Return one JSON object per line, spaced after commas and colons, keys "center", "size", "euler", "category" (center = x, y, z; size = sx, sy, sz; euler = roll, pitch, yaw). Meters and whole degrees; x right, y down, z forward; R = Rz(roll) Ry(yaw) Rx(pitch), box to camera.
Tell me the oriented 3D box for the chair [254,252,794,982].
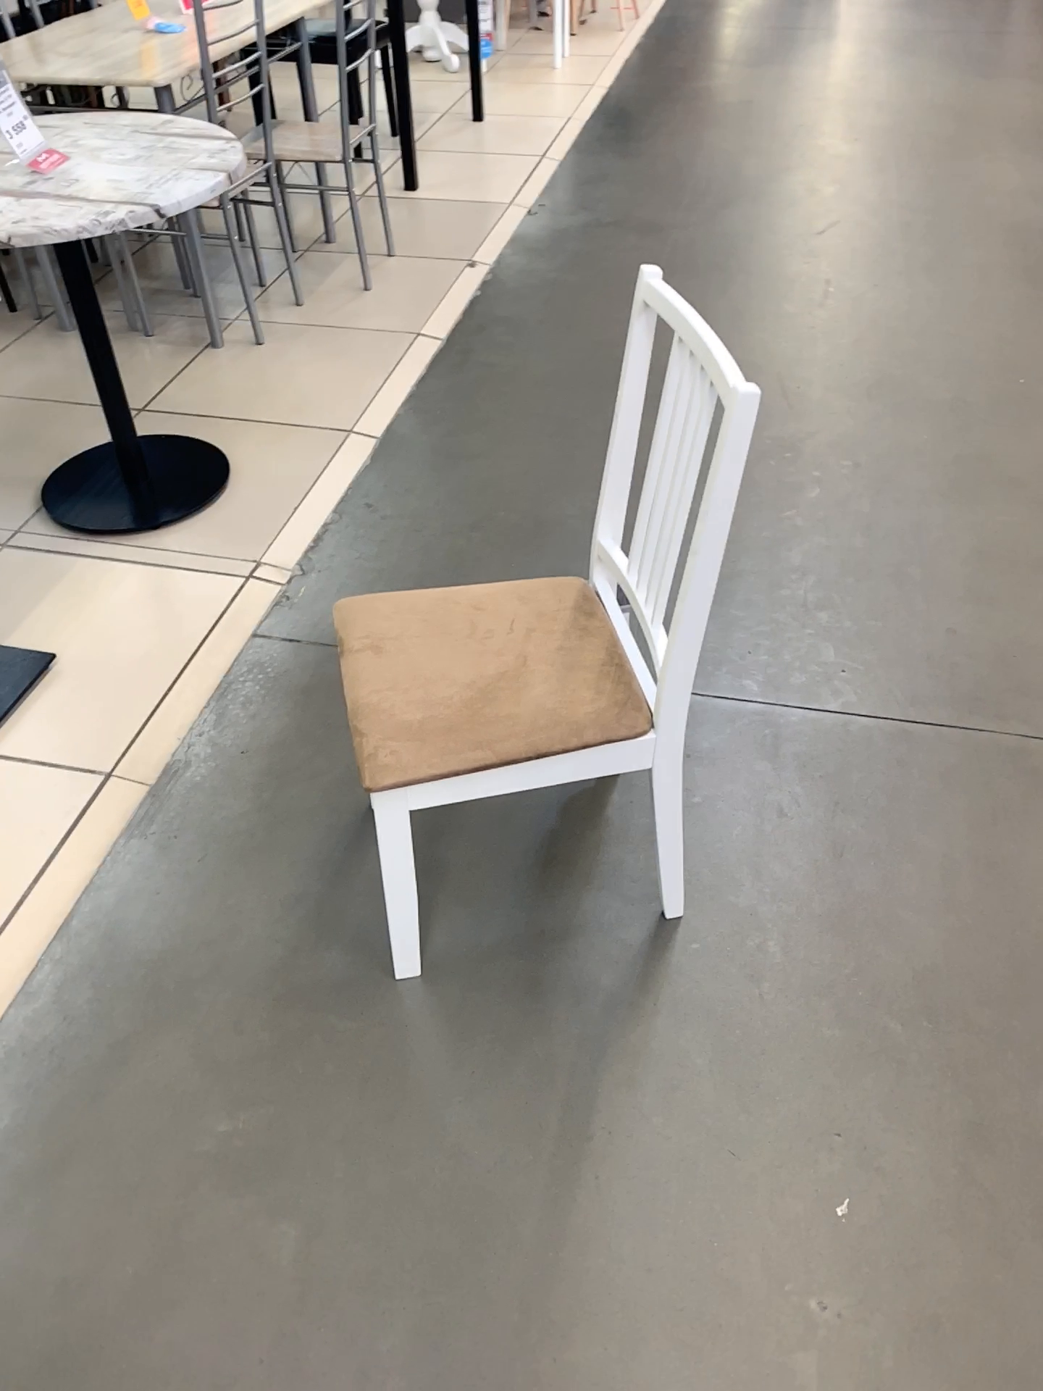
{"center": [-0.012, -0.076, 1.408], "size": [0.500, 0.816, 0.402], "euler": [-10, 42, -9], "category": "chair"}
